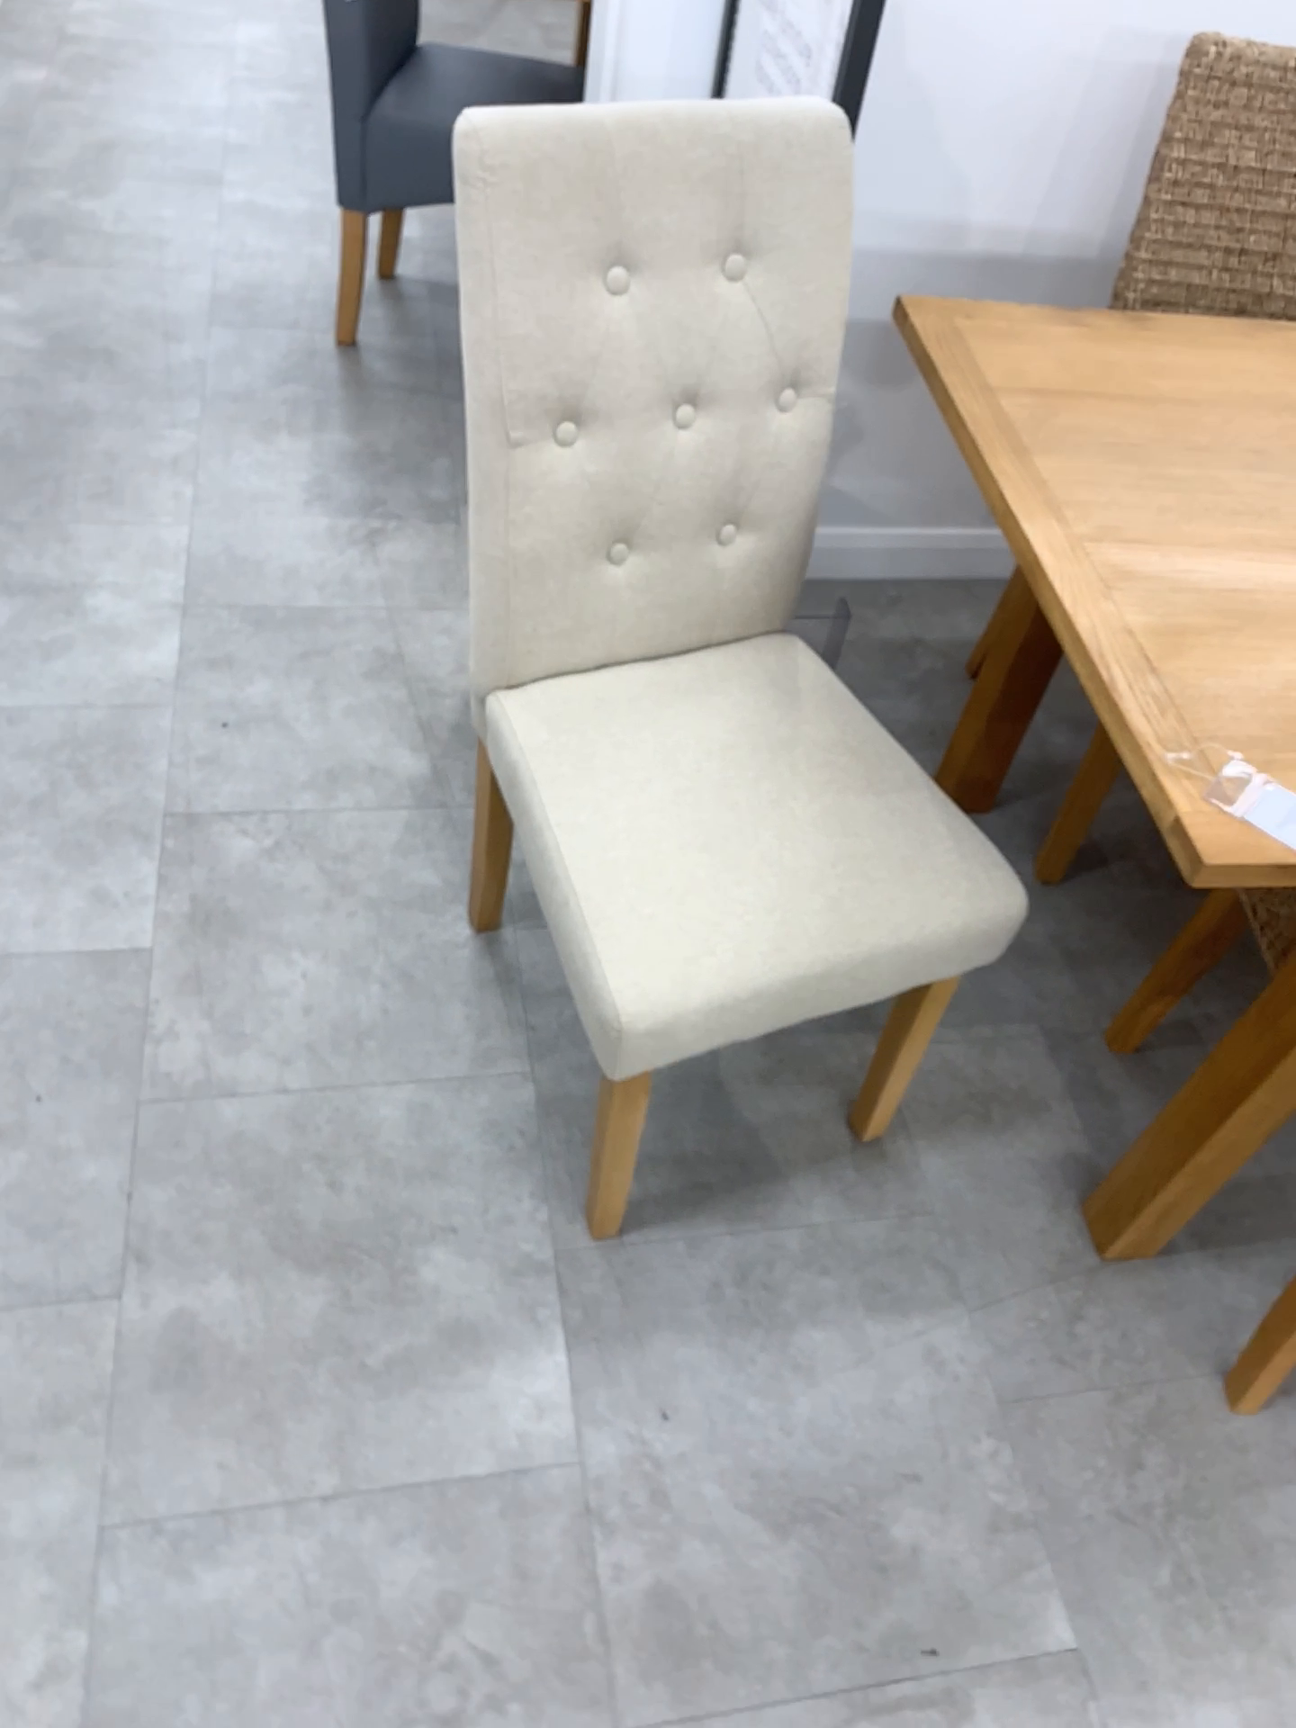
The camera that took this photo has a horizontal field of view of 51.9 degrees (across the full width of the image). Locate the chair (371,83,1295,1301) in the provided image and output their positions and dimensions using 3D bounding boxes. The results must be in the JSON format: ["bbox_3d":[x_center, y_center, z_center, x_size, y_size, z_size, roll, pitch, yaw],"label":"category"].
[{"bbox_3d":[0.056,-0.132,1.245,0.421,0.872,0.614,-16,52,-23],"label":"chair"}]
